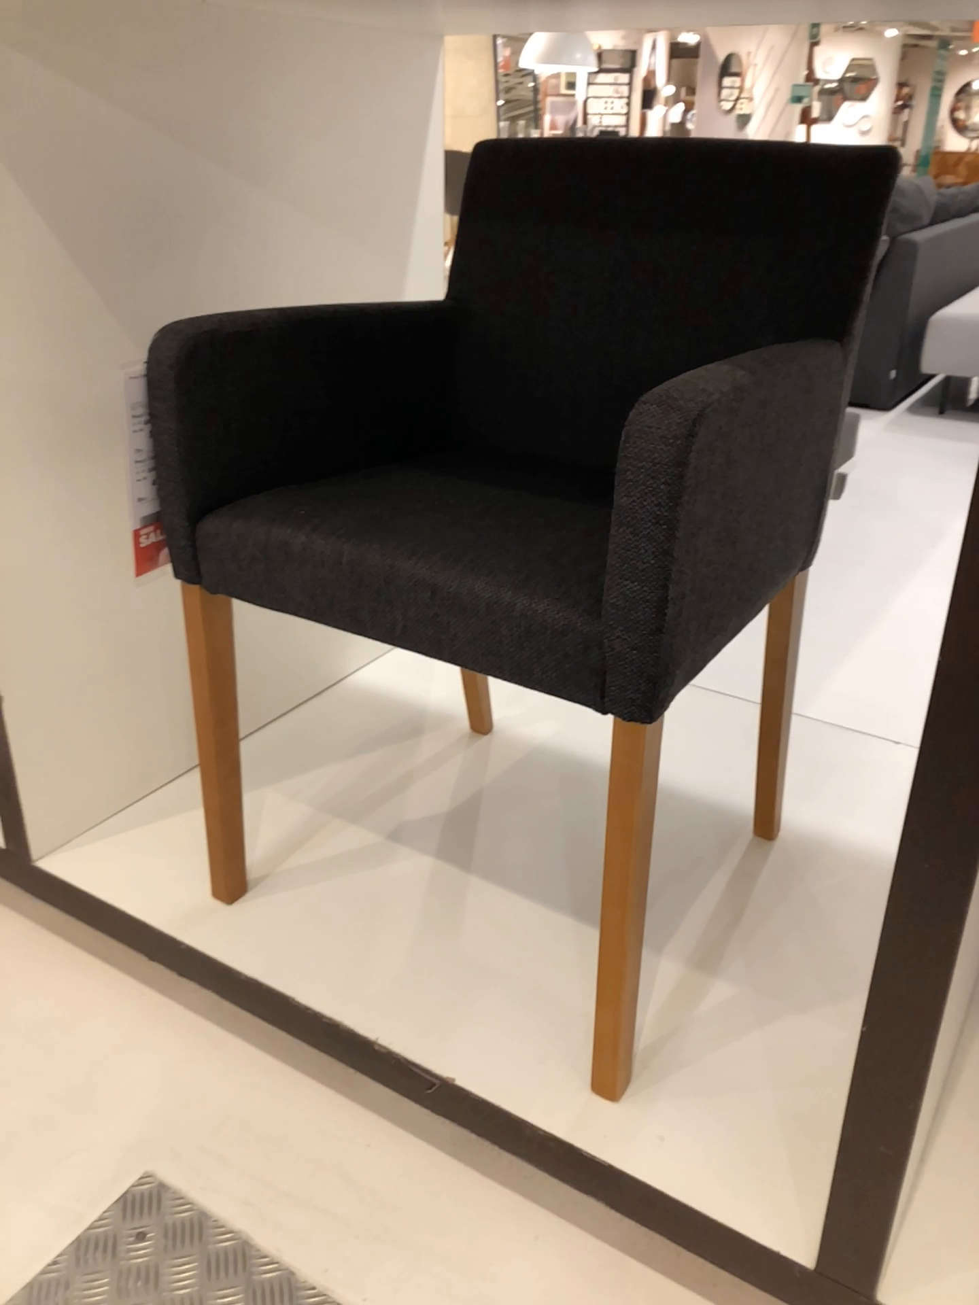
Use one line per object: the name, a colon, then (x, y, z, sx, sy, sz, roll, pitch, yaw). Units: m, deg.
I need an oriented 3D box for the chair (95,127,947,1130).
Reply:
chair: (0.048, -0.105, 1.144, 0.561, 0.794, 0.563, 17, 30, 30)
